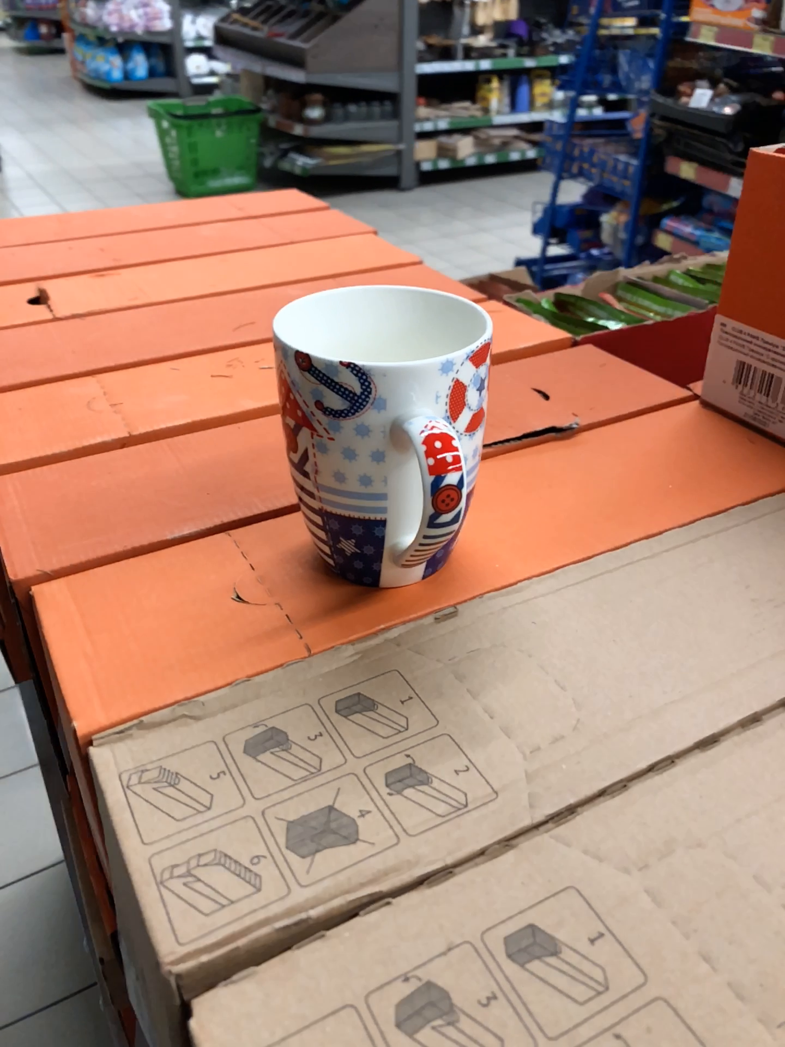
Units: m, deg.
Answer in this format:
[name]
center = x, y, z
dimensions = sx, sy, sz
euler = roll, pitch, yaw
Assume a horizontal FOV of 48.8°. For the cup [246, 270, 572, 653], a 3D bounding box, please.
[cup]
center = -0.001, -0.031, 0.331
dimensions = 0.086, 0.092, 0.113
euler = -9, 34, -14
